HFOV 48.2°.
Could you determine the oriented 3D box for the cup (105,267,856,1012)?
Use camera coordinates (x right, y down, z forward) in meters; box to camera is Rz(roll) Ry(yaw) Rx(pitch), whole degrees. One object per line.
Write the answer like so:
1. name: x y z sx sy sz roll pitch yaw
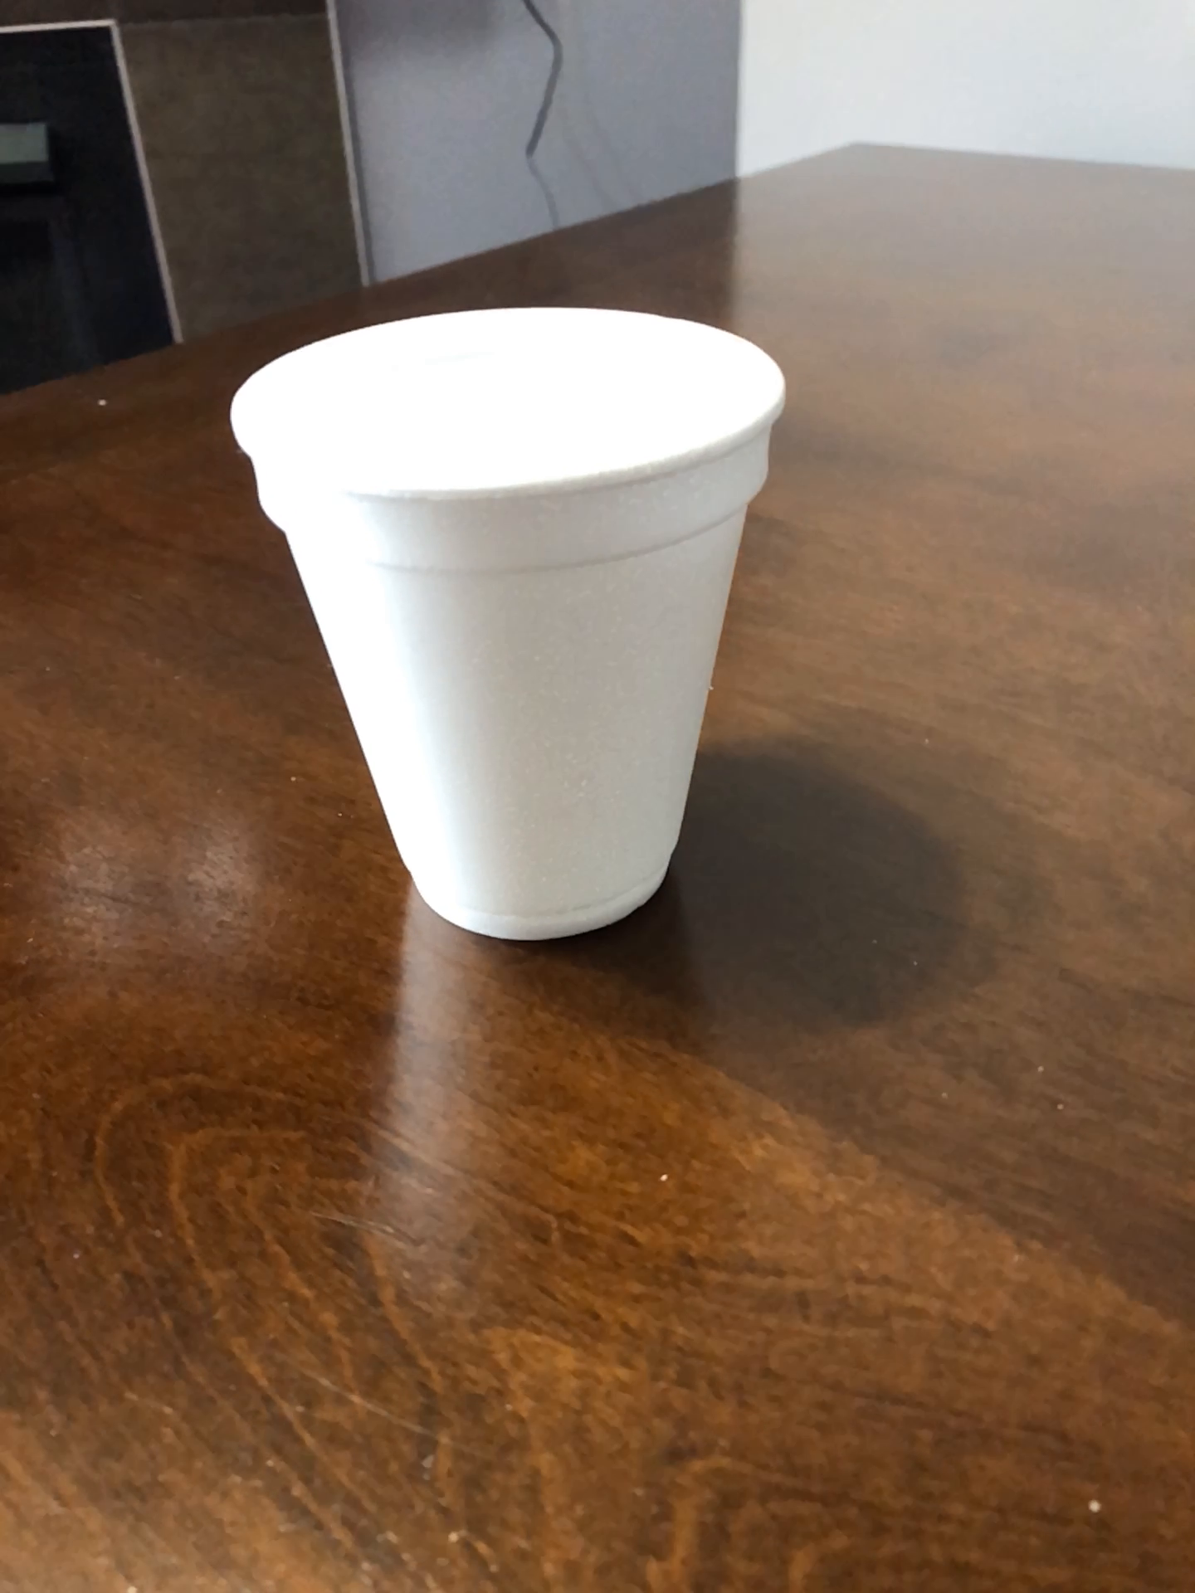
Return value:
1. cup: -0.010 -0.031 0.211 0.080 0.080 0.080 -2 34 1
